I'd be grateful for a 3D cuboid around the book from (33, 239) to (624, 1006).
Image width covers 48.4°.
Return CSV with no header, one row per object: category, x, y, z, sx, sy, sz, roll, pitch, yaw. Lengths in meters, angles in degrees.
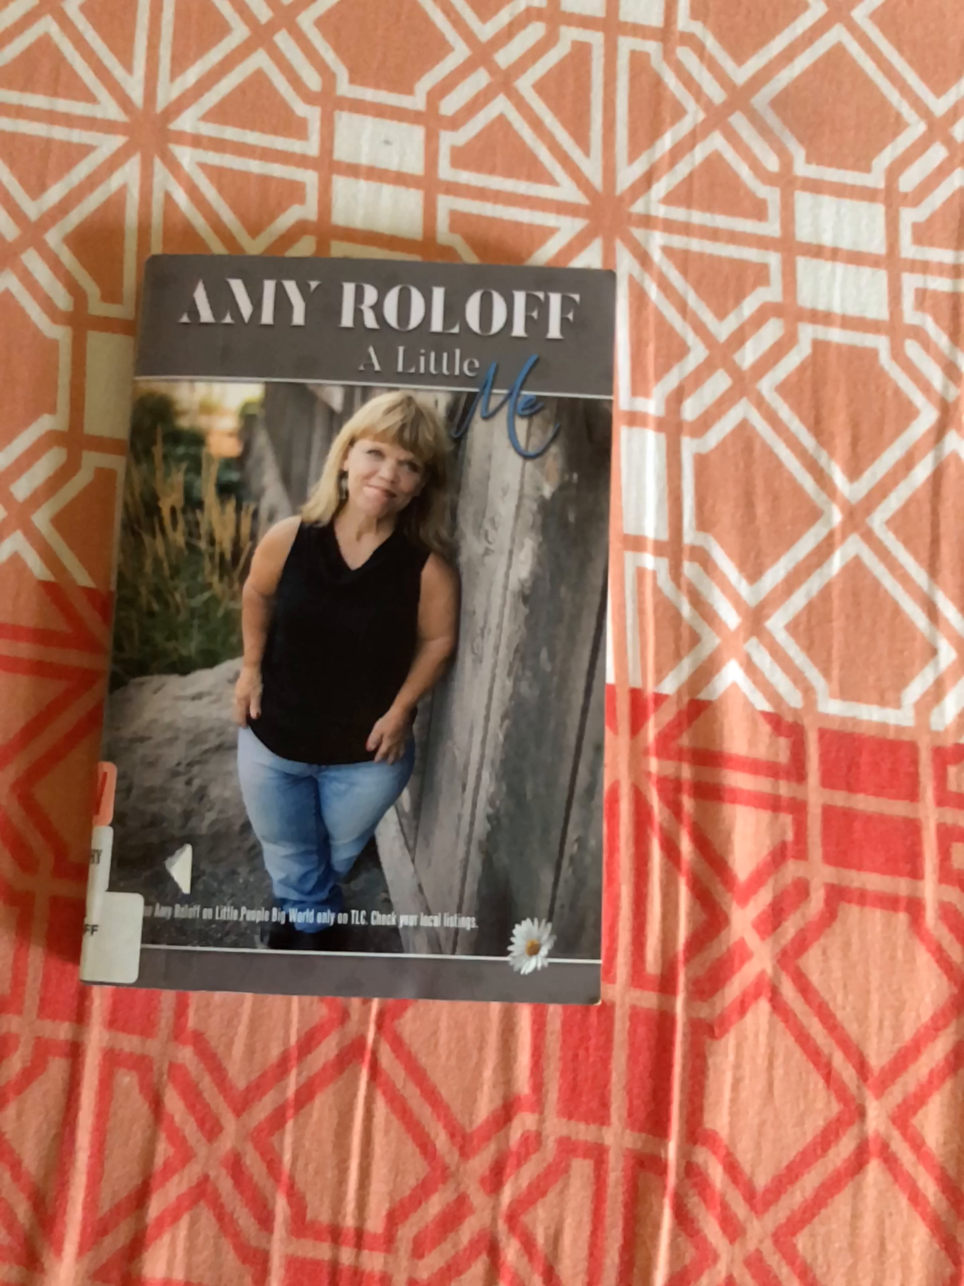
book,-0.041,-0.008,0.322,0.158,0.030,0.215,2,84,-1
